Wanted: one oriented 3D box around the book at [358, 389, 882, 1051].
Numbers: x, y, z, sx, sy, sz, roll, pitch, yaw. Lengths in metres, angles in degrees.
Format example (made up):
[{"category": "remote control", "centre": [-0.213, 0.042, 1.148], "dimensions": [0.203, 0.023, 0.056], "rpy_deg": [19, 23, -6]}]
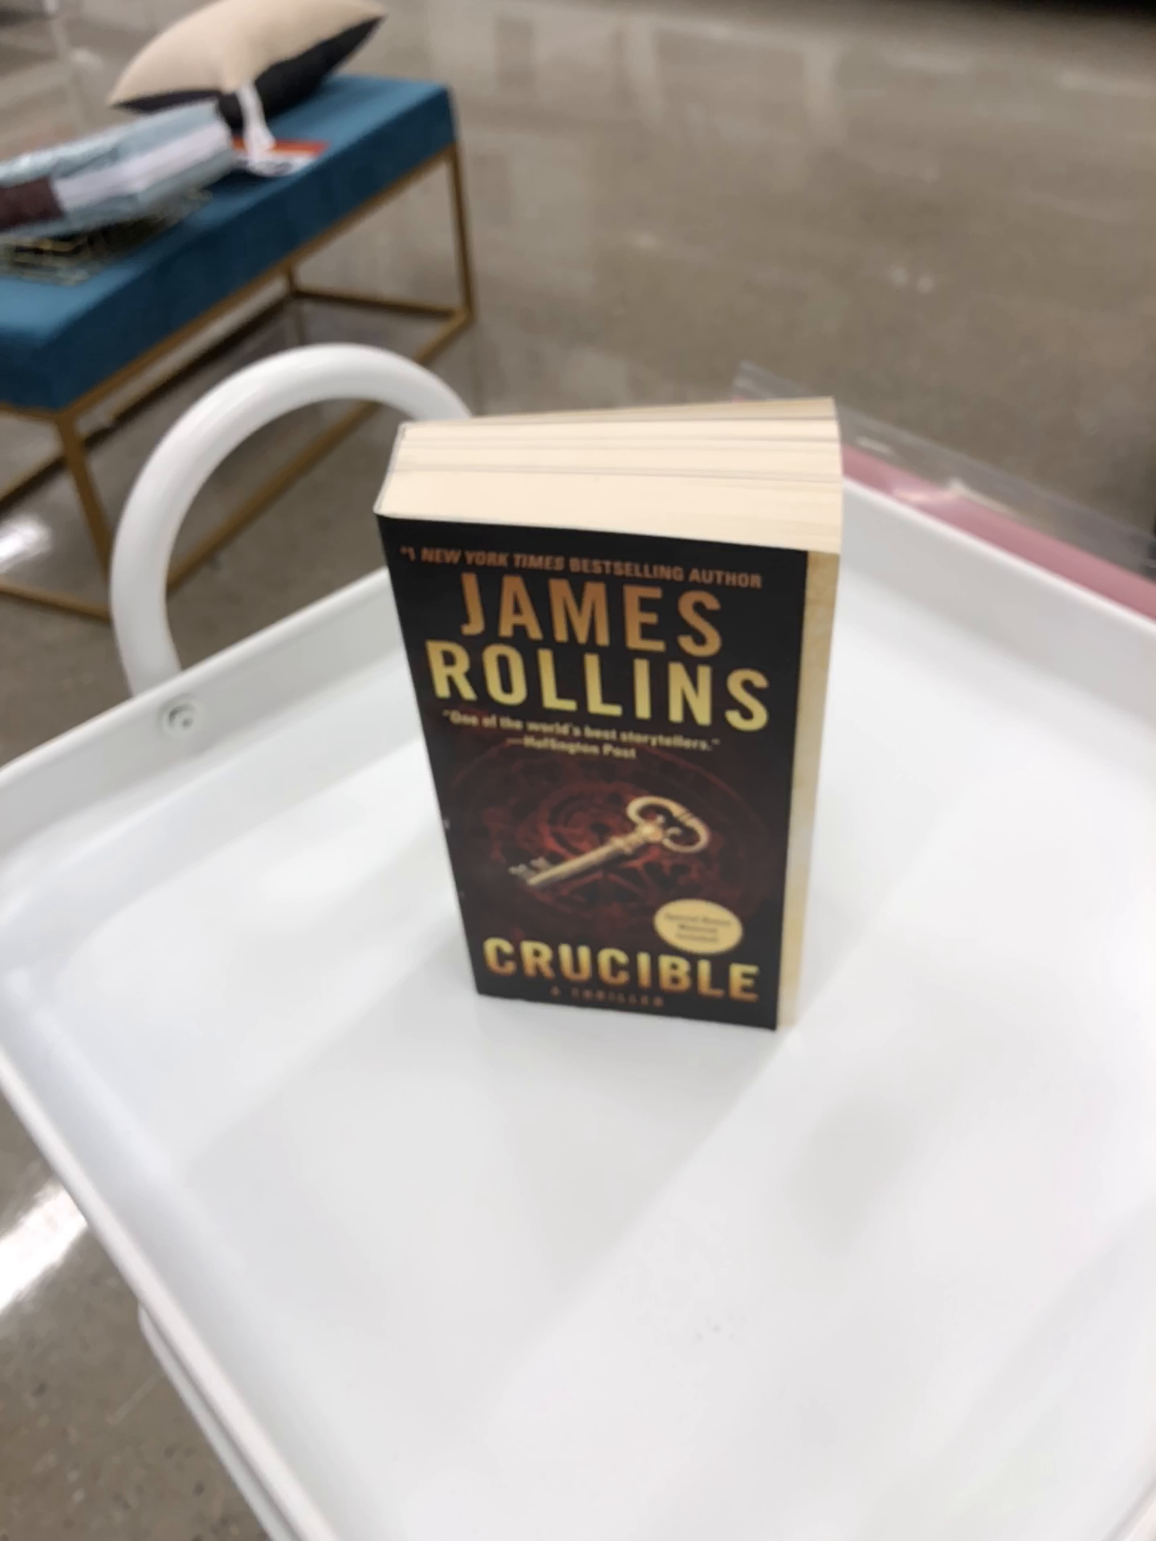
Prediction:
[{"category": "book", "centre": [0.016, -0.005, 0.365], "dimensions": [0.112, 0.185, 0.066], "rpy_deg": [3, 45, 7]}]
